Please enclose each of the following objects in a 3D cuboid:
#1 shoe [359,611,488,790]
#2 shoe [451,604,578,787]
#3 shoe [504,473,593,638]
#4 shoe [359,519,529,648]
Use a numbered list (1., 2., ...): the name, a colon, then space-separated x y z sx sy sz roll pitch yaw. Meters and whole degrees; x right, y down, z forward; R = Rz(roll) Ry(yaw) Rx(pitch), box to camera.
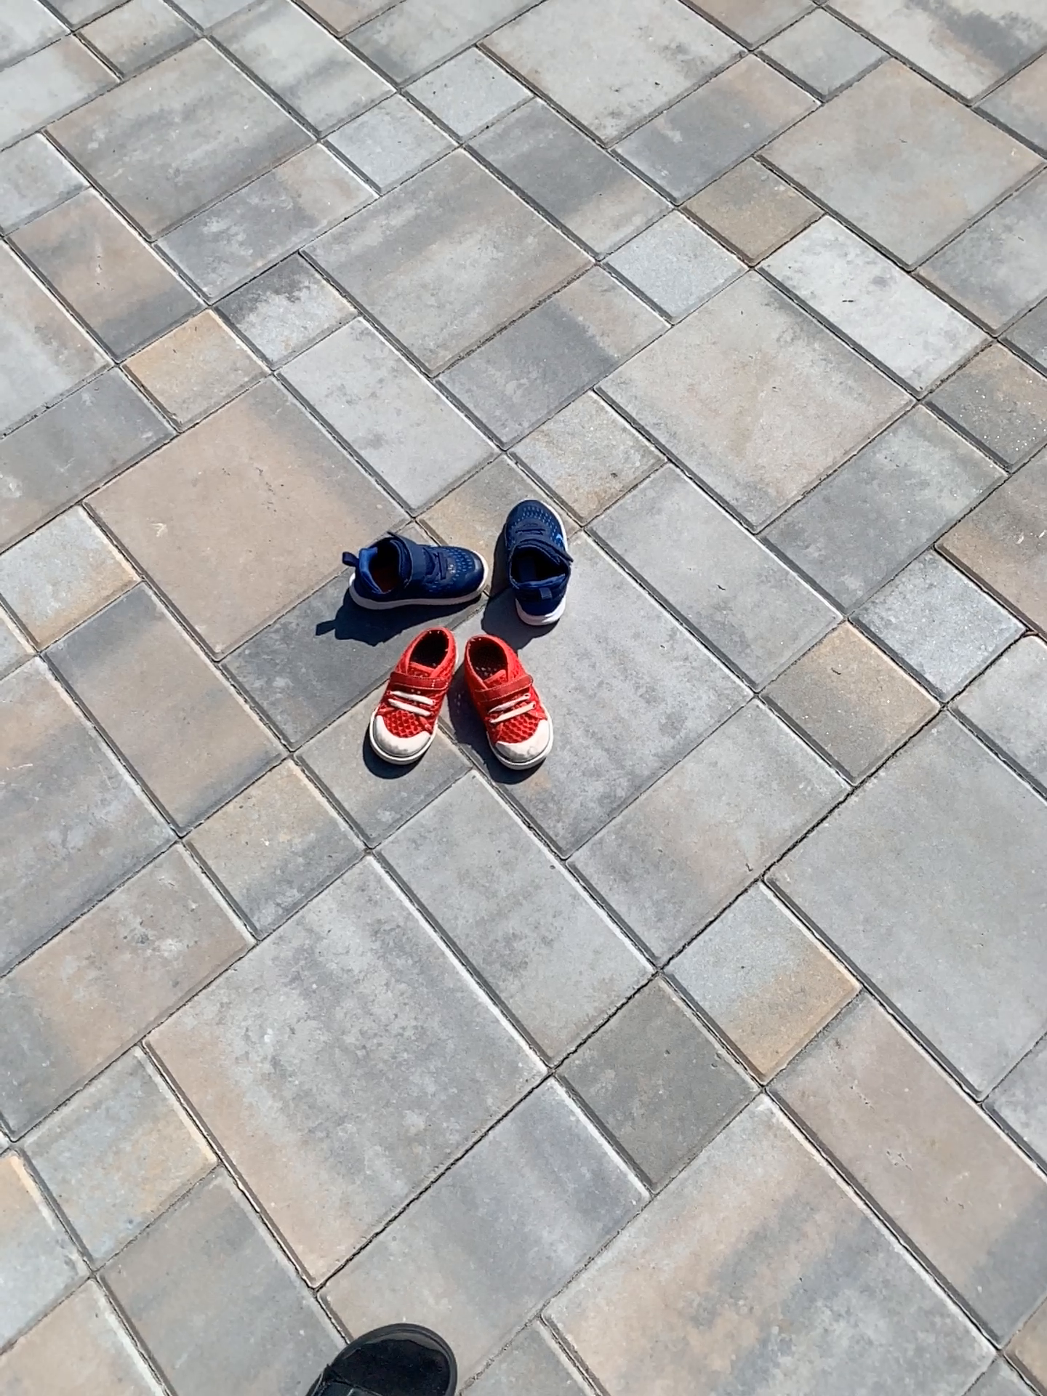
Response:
1. shoe: -0.109 0.002 1.194 0.080 0.070 0.170 18 69 8
2. shoe: -0.010 -0.003 1.166 0.080 0.070 0.170 -20 69 -7
3. shoe: 0.028 -0.166 1.240 0.080 0.070 0.170 -7 68 -2
4. shoe: -0.091 -0.133 1.253 0.180 0.090 0.090 -10 68 -3
